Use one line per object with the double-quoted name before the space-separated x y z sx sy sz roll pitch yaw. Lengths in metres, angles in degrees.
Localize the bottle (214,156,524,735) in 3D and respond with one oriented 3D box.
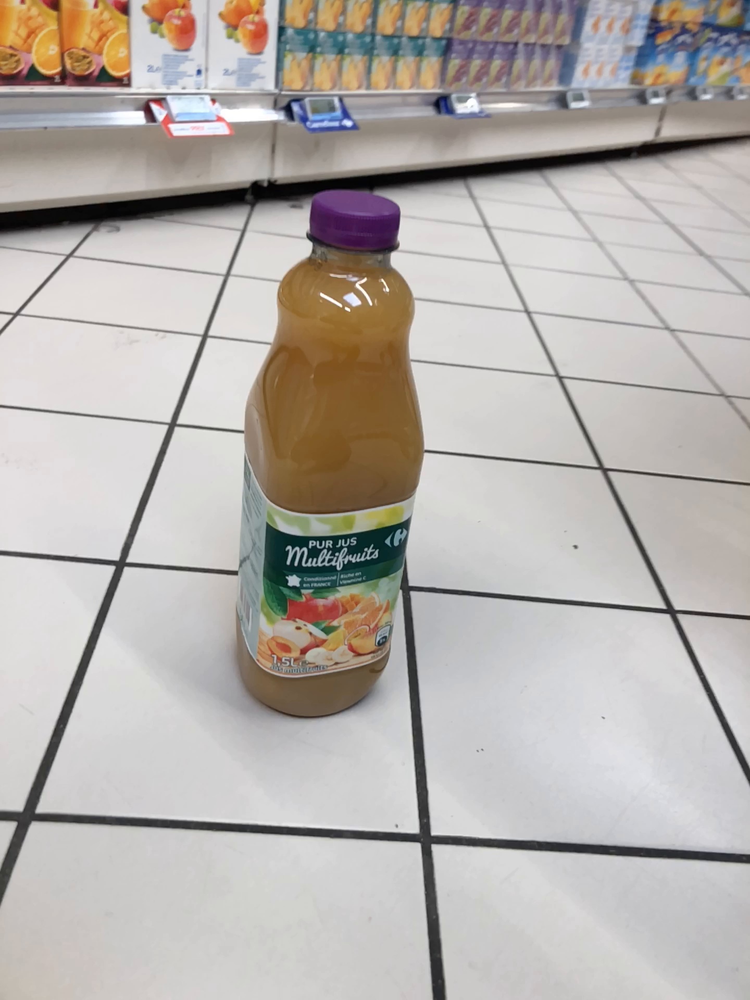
"bottle" -0.021 -0.020 0.435 0.100 0.278 0.100 7 32 -4
